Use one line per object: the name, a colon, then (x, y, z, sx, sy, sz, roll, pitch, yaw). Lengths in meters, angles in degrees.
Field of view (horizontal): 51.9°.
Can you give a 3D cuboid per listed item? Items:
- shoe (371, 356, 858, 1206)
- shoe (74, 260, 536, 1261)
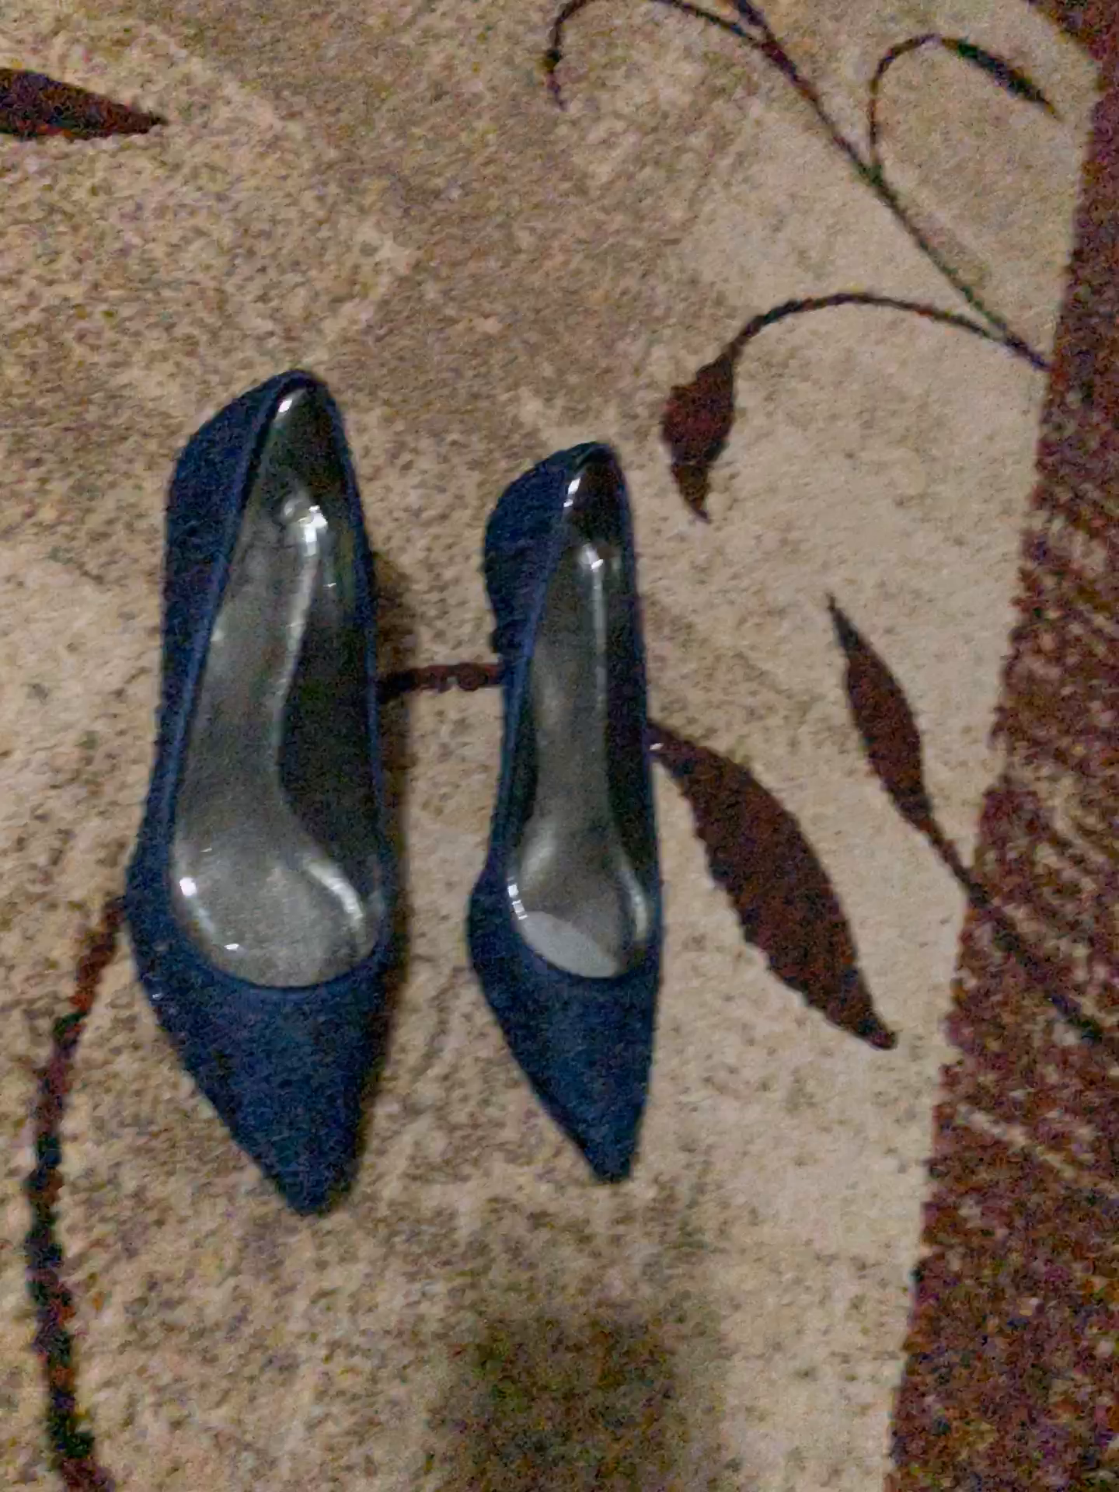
shoe: (0.008, 0.008, 0.423, 0.088, 0.088, 0.284, -1, 69, -30)
shoe: (-0.094, -0.001, 0.372, 0.088, 0.088, 0.293, -1, 69, -30)
